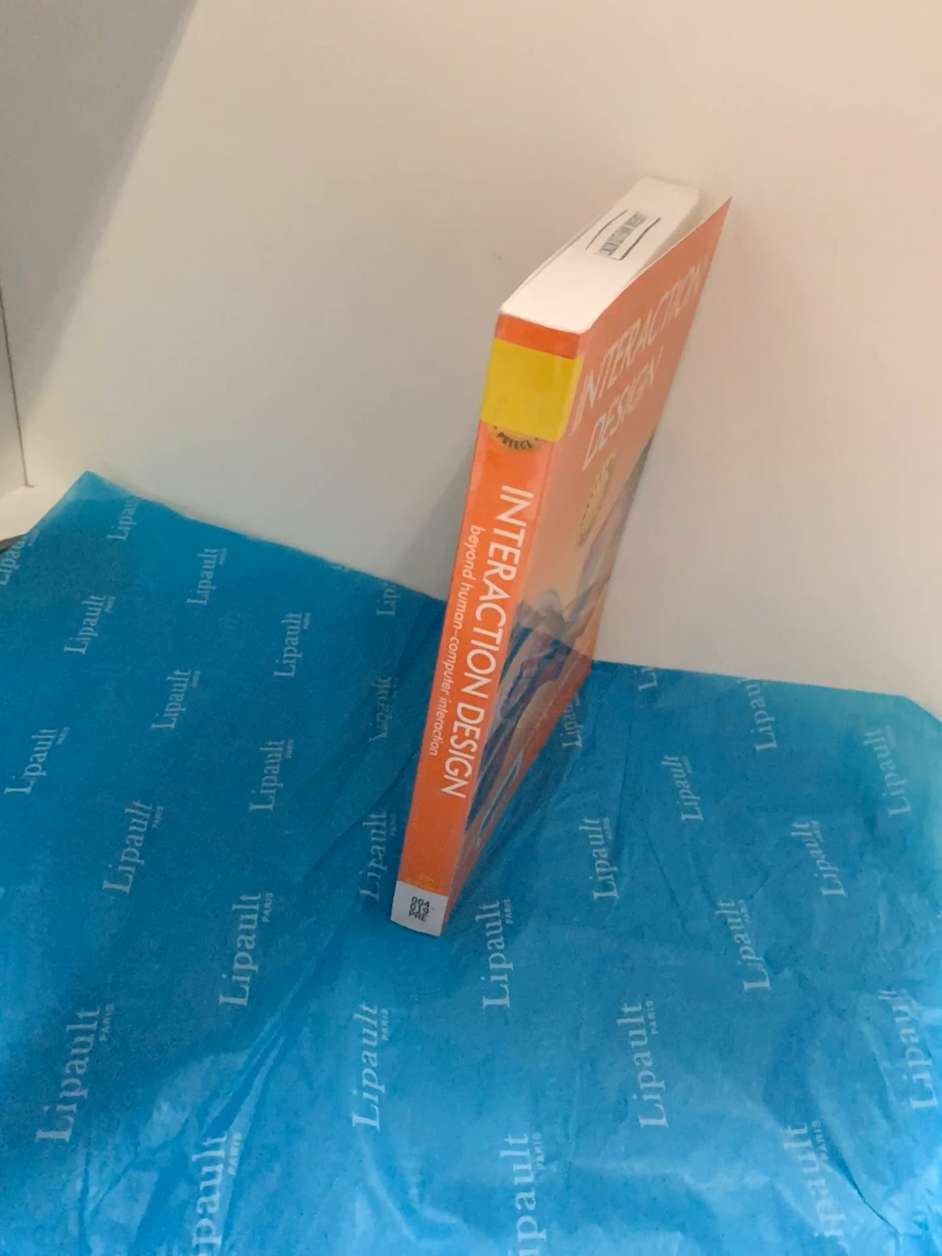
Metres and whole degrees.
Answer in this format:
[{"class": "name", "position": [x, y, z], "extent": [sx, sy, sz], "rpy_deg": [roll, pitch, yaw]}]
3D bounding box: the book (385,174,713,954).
[{"class": "book", "position": [0.031, -0.028, 0.383], "extent": [0.030, 0.247, 0.196], "rpy_deg": [19, 37, 10]}]
